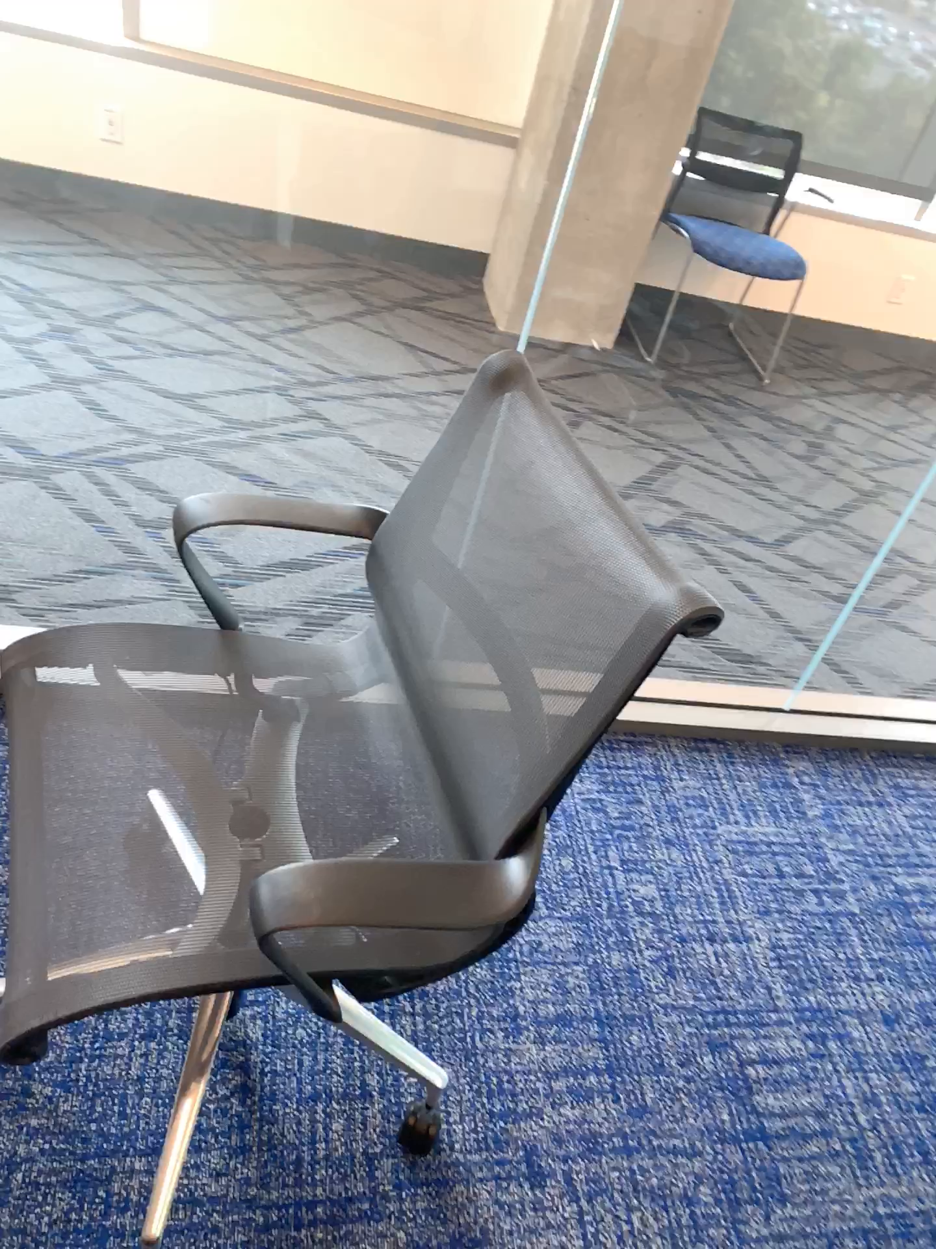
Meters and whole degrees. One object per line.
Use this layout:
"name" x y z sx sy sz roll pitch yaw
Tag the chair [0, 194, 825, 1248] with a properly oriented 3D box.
"chair" -0.270 0.139 0.926 0.641 0.773 0.665 -3 42 -24
